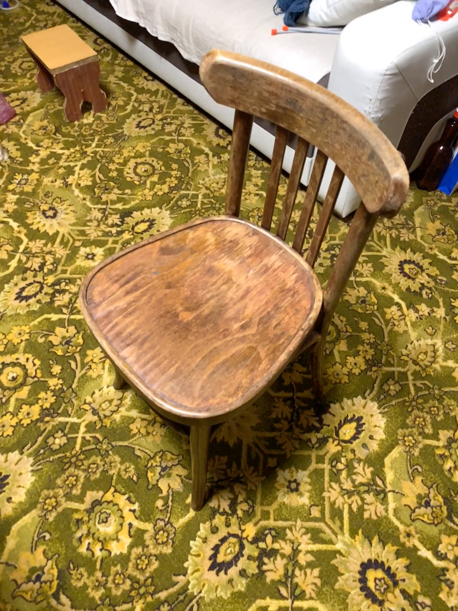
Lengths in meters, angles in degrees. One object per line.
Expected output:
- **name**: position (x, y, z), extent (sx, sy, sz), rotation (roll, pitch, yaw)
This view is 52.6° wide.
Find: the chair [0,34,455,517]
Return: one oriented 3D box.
- **chair**: position (-0.022, 0.016, 0.867), extent (0.411, 0.735, 0.401), rotation (-32, 62, -21)
